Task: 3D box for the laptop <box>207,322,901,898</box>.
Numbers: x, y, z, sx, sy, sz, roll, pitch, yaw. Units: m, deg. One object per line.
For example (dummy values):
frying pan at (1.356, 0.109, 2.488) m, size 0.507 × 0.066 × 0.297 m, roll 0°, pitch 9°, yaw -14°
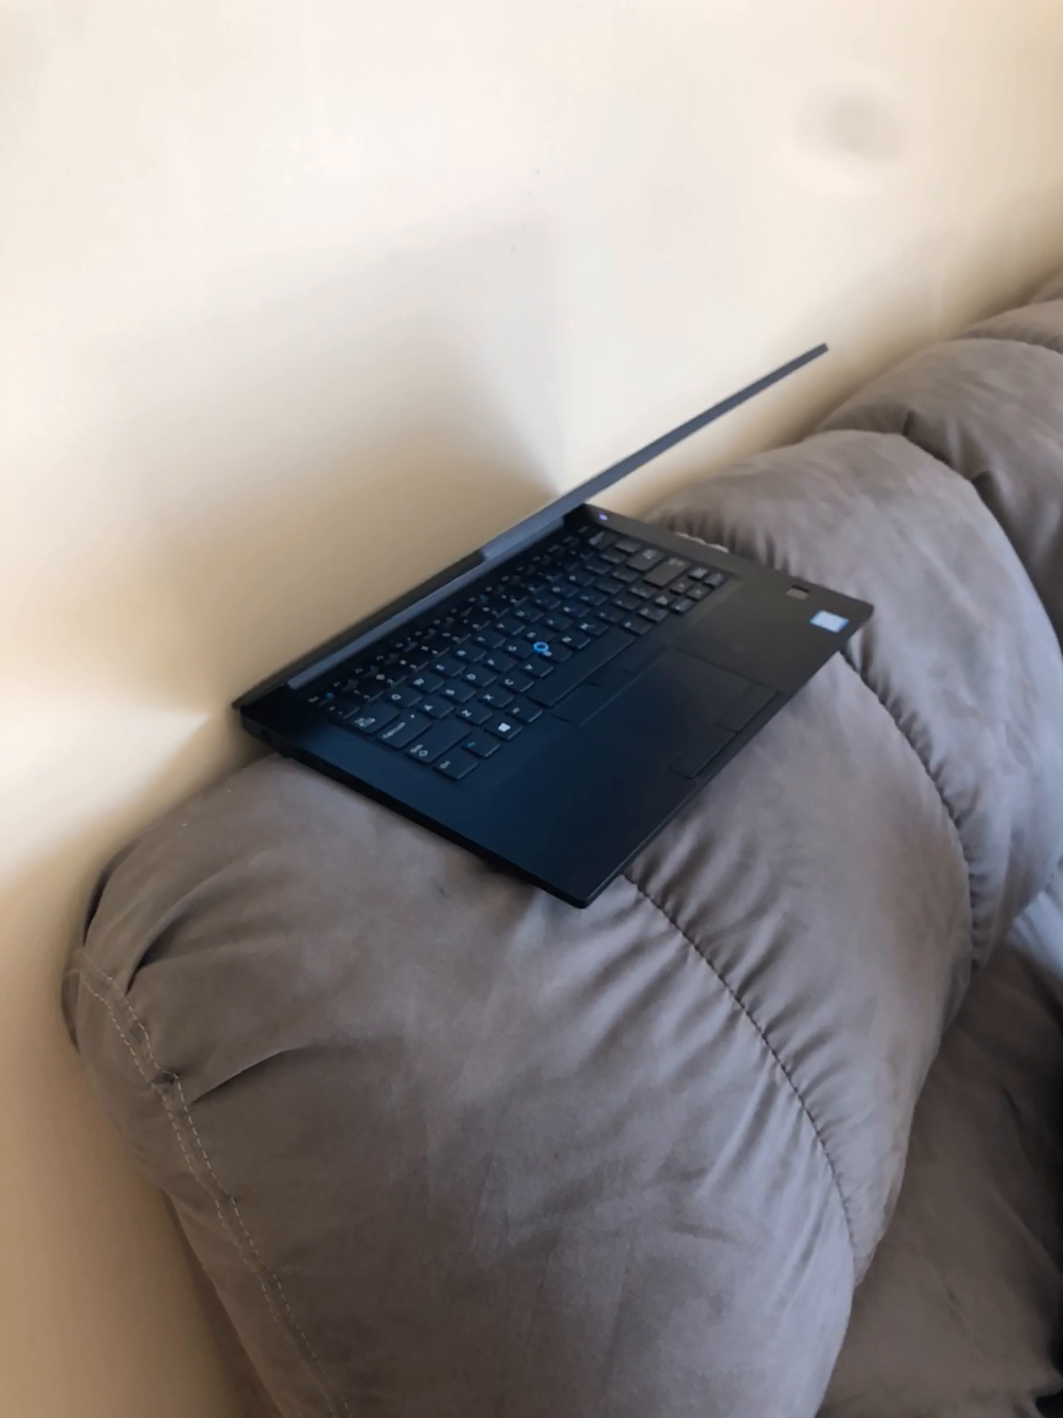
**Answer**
laptop at (0.031, -0.084, 0.635) m, size 0.213 × 0.128 × 0.322 m, roll 23°, pitch 39°, yaw 28°
